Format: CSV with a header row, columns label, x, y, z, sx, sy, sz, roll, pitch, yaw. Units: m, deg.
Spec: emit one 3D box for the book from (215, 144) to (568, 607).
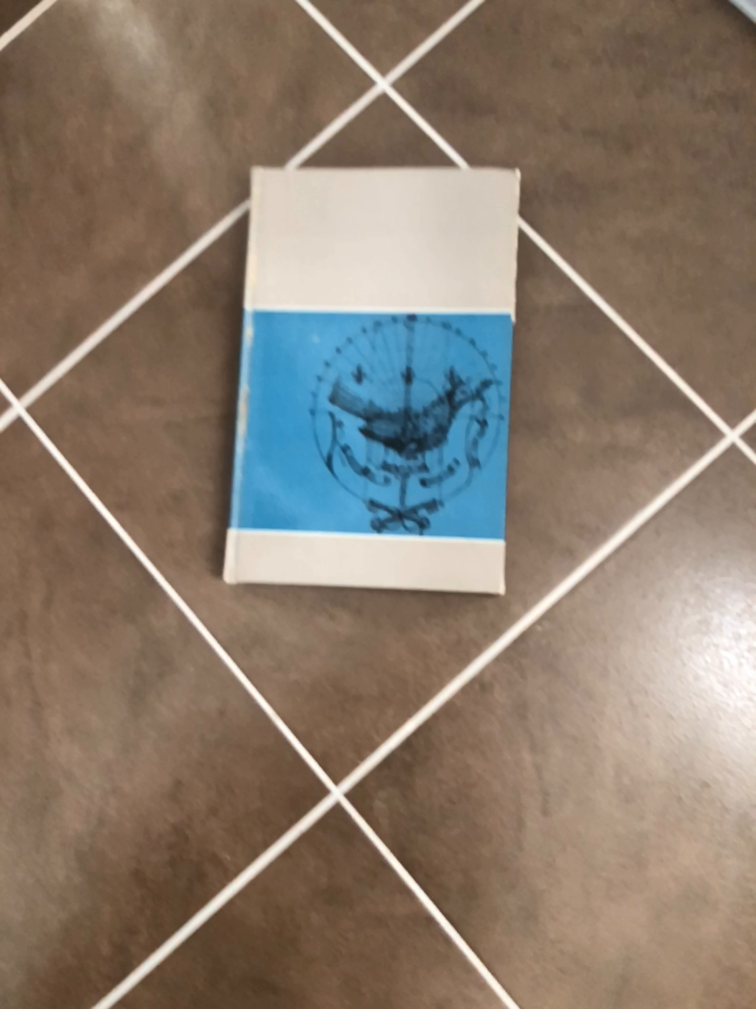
label,x,y,z,sx,sy,sz,roll,pitch,yaw
book,0.012,-0.089,0.564,0.210,0.040,0.300,3,83,6
